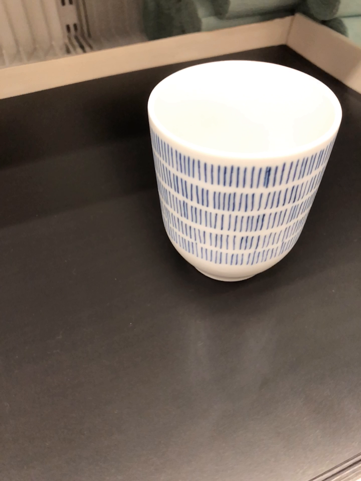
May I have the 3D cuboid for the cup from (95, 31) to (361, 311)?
[{"bbox_3d":[0.019,-0.031,0.168,0.080,0.070,0.070,-18,47,-15],"label":"cup"}]
